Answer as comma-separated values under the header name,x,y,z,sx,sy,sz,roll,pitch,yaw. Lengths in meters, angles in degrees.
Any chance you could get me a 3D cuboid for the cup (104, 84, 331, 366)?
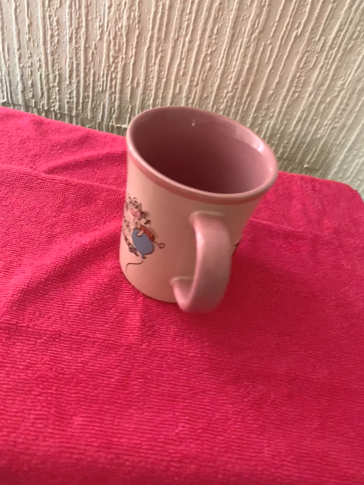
name,x,y,z,sx,sy,sz,roll,pitch,yaw
cup,0.008,-0.011,0.239,0.090,0.109,0.131,8,45,-9
